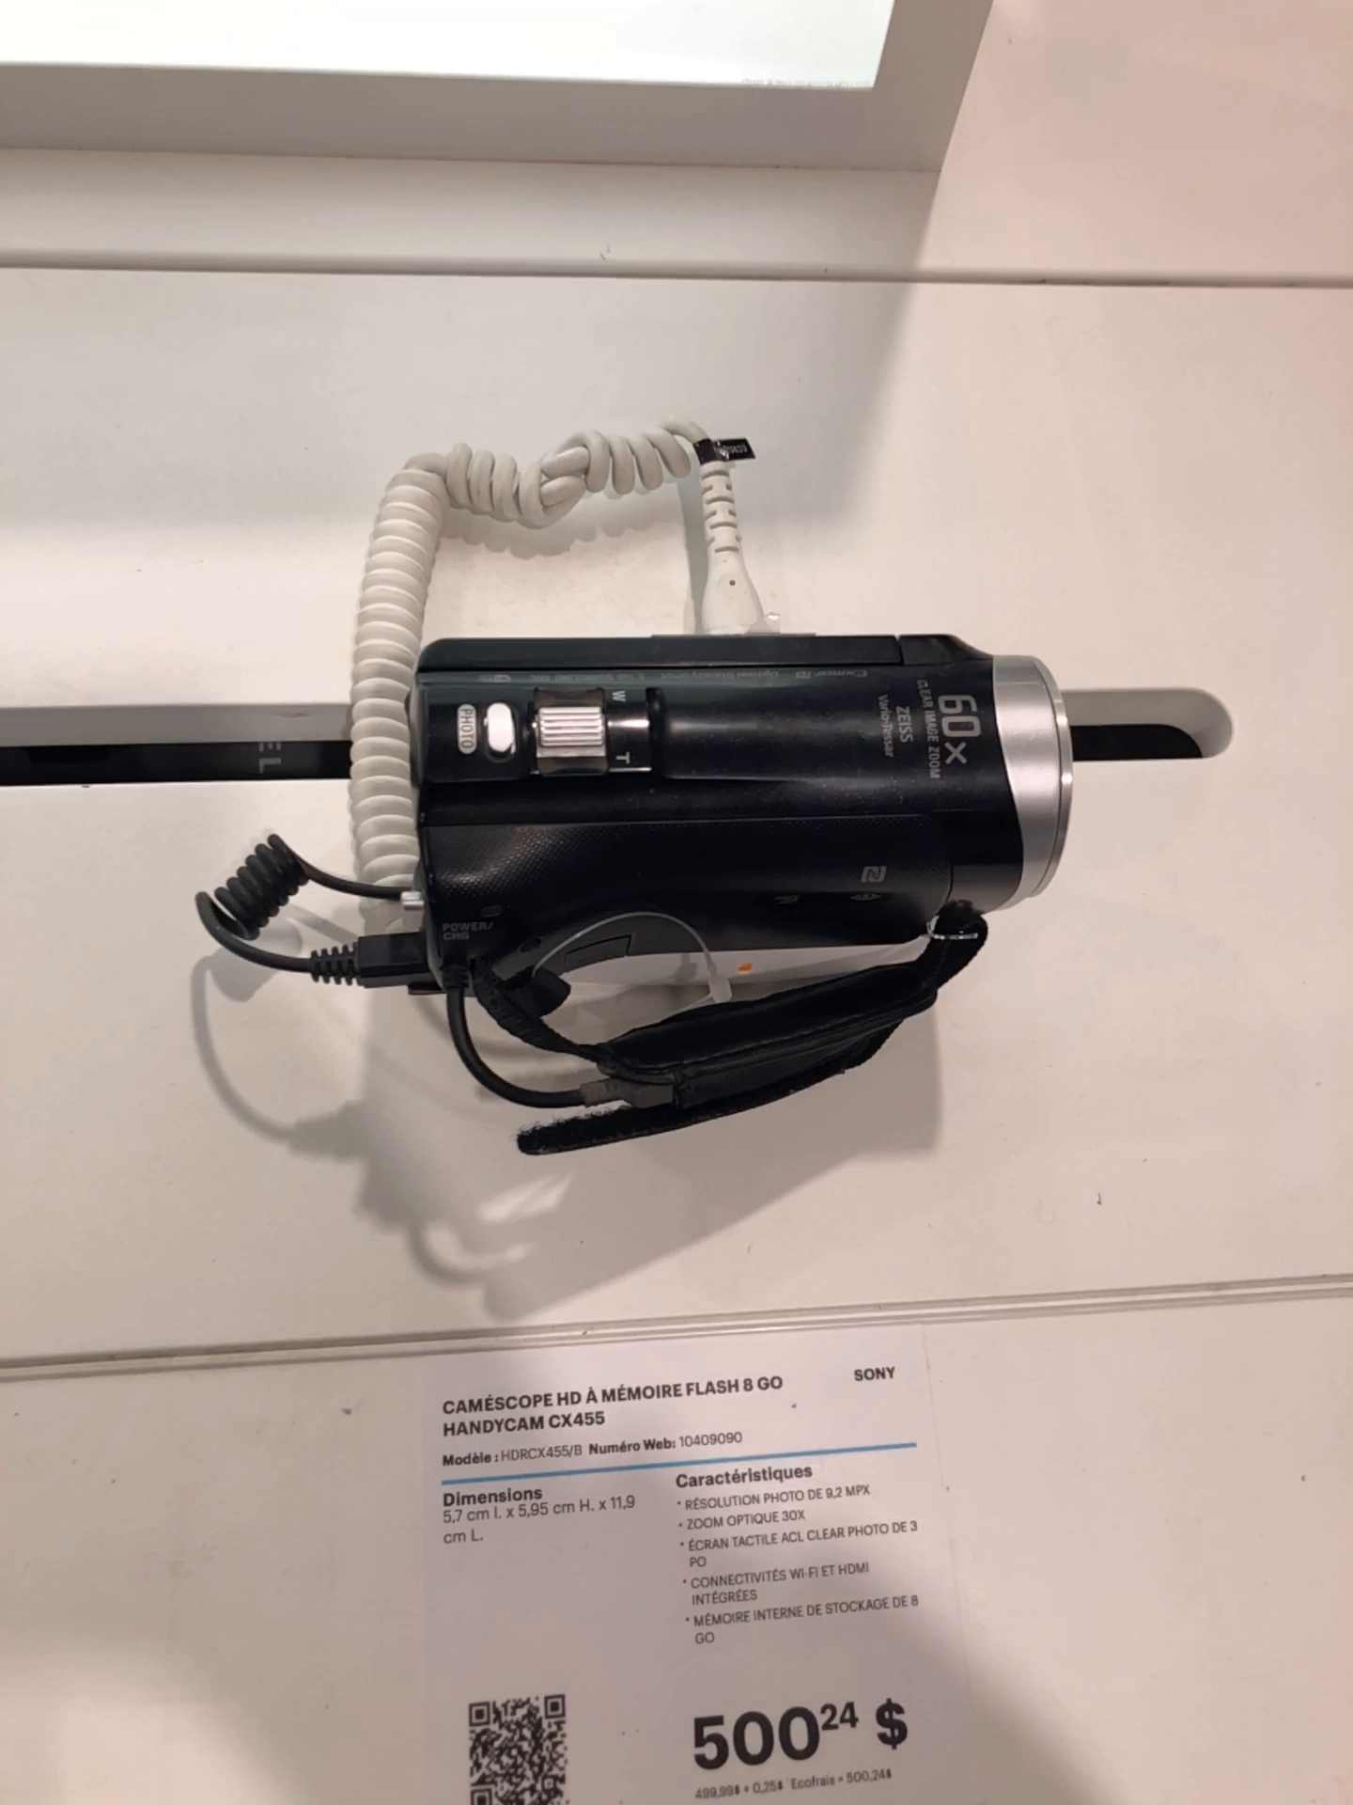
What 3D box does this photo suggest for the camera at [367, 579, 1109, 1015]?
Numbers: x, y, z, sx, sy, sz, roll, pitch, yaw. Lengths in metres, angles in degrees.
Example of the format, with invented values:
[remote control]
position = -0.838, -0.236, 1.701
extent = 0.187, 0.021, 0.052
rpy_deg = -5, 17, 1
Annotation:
[camera]
position = 0.007, -0.018, 0.281
extent = 0.121, 0.058, 0.057
rpy_deg = -3, 68, -7
